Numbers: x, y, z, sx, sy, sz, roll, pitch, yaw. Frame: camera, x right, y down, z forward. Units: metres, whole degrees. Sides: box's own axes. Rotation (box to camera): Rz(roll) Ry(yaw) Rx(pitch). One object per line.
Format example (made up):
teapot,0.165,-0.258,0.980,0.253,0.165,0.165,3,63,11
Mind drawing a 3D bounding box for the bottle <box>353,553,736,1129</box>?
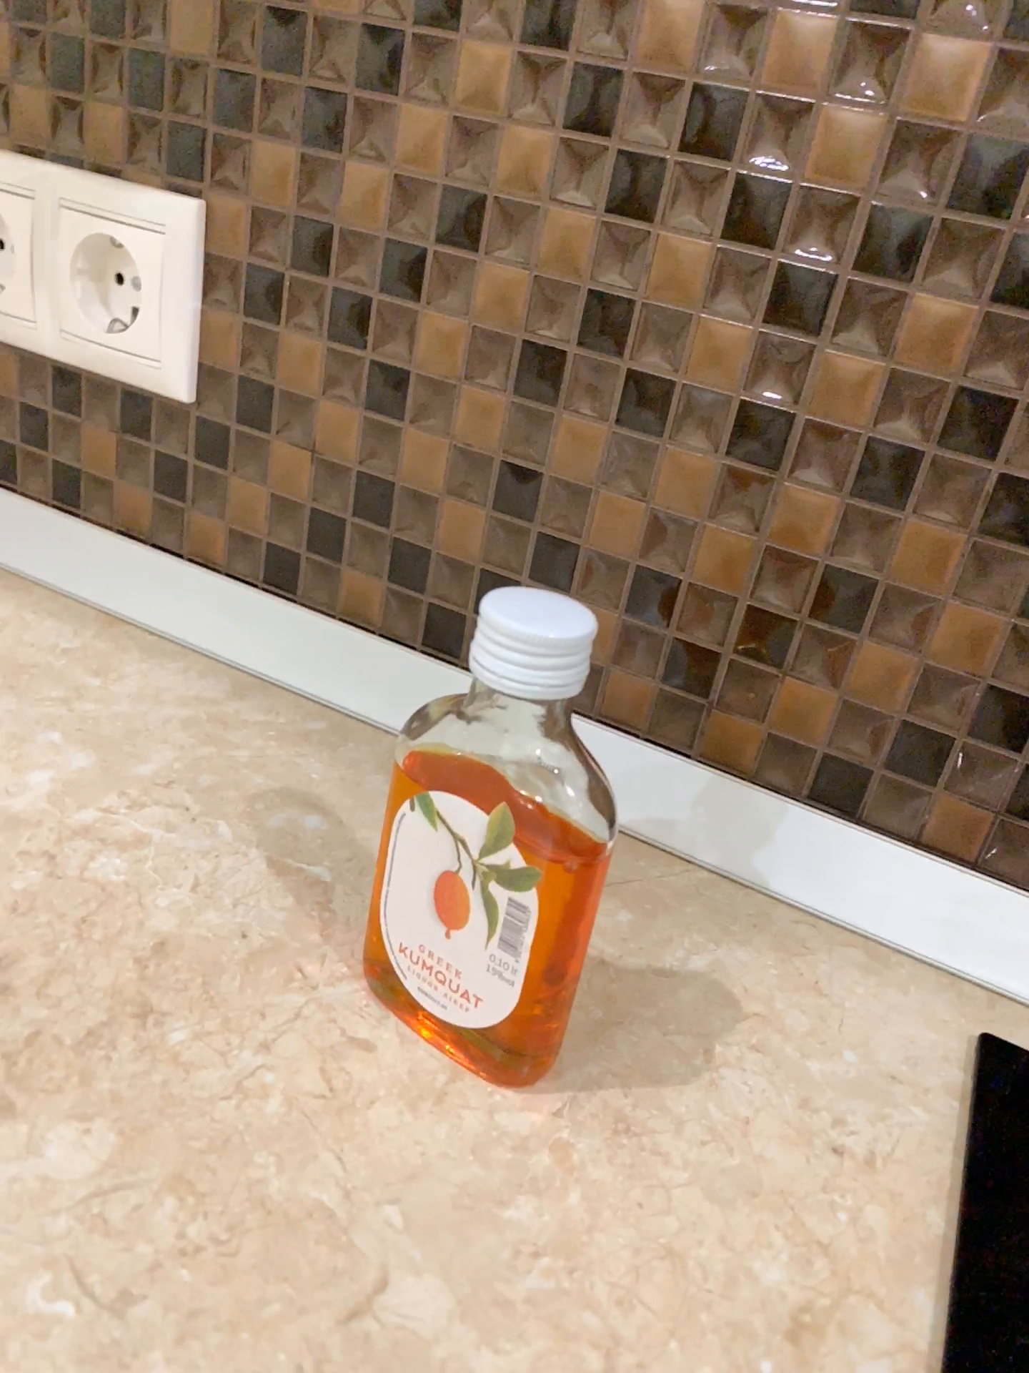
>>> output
bottle,0.003,0.041,0.290,0.070,0.133,0.040,28,30,30
